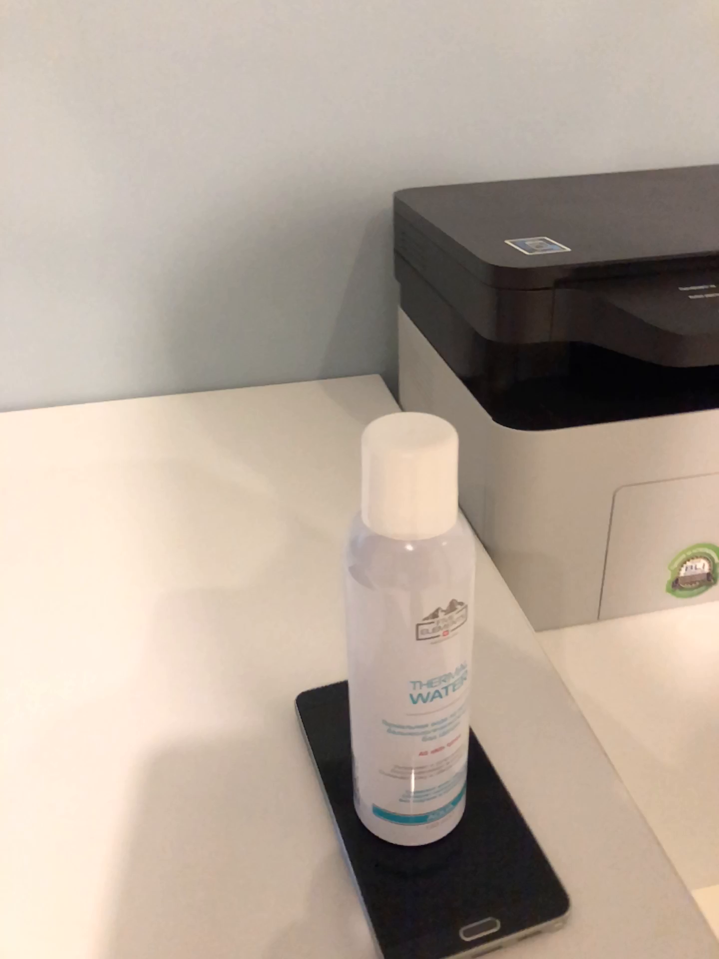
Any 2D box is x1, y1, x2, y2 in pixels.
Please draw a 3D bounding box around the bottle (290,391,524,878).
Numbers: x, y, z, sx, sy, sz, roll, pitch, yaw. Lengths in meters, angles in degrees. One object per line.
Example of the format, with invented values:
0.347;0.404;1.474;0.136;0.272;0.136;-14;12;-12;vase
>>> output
0.018;0.063;0.308;0.054;0.175;0.059;-21;34;-30;bottle
